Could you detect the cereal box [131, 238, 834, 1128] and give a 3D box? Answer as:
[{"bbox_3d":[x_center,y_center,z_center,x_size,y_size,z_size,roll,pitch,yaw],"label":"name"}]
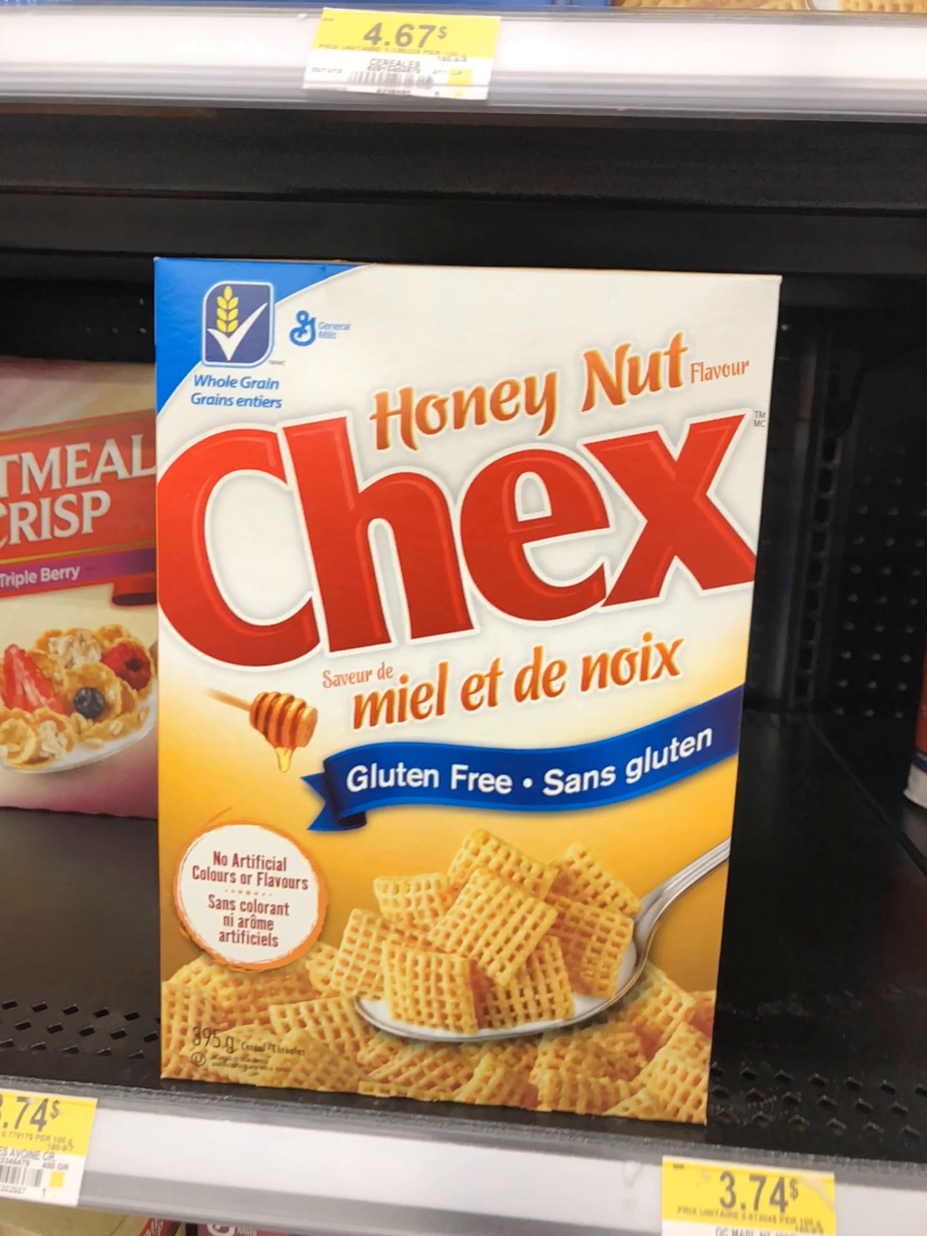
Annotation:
[{"bbox_3d":[-0.001,0.023,0.354,0.210,0.279,0.050,3,10,4],"label":"cereal box"}]
